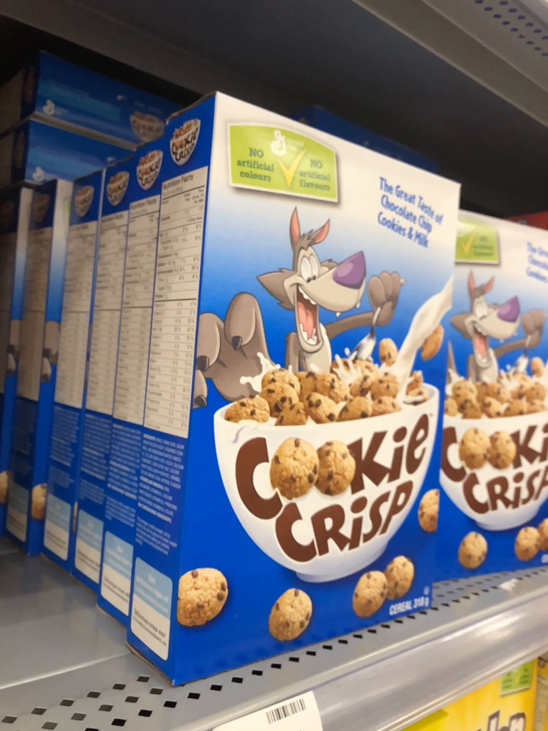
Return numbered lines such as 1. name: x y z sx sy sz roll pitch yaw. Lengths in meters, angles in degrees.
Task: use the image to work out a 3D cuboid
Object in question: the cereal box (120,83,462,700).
1. cereal box: 0.023 0.015 0.361 0.200 0.280 0.050 4 0 -41
